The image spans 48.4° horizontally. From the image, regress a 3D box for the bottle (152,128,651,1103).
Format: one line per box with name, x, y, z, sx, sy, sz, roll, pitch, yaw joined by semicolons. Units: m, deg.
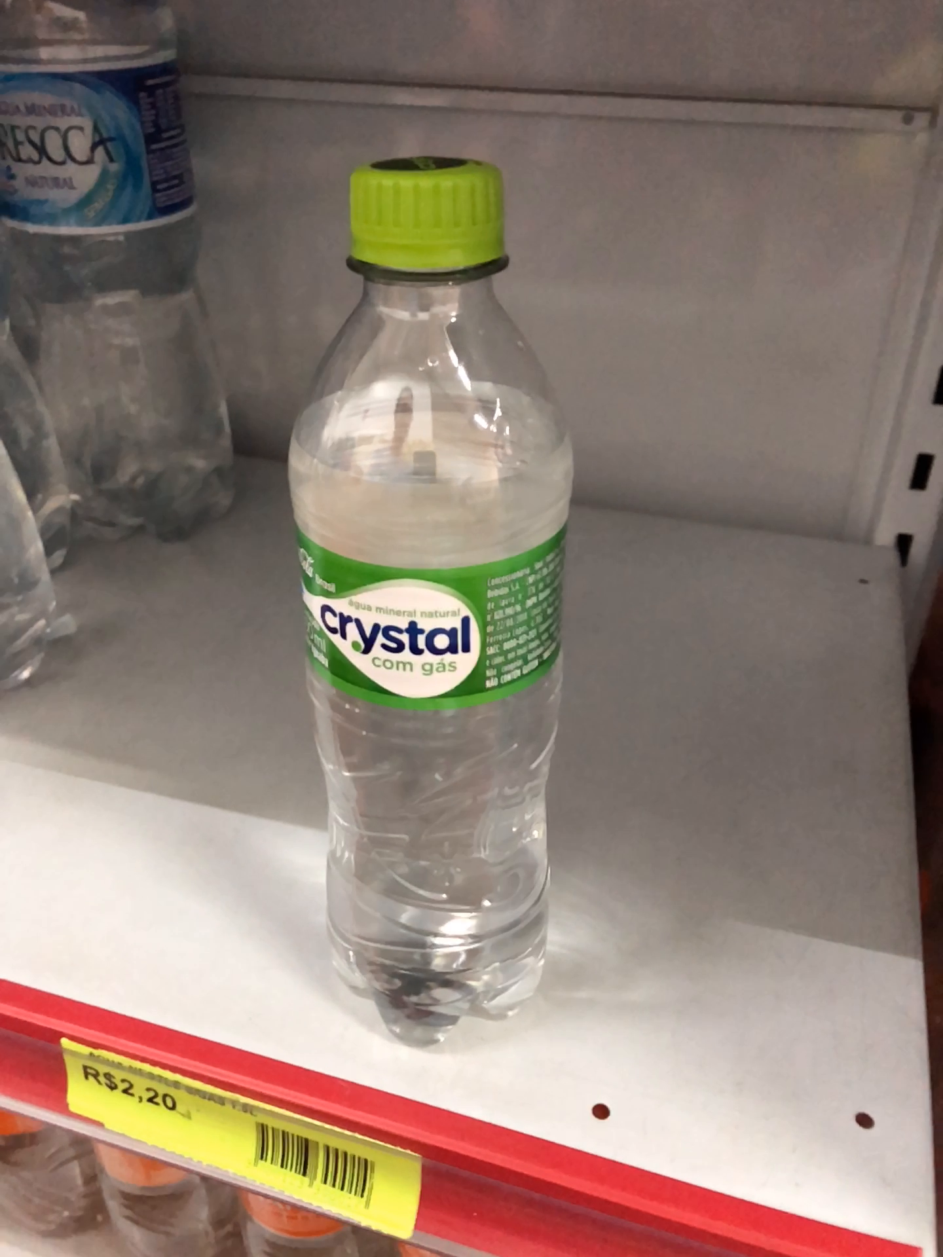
bottle;-0.010;0.009;0.246;0.070;0.218;0.060;12;35;18
